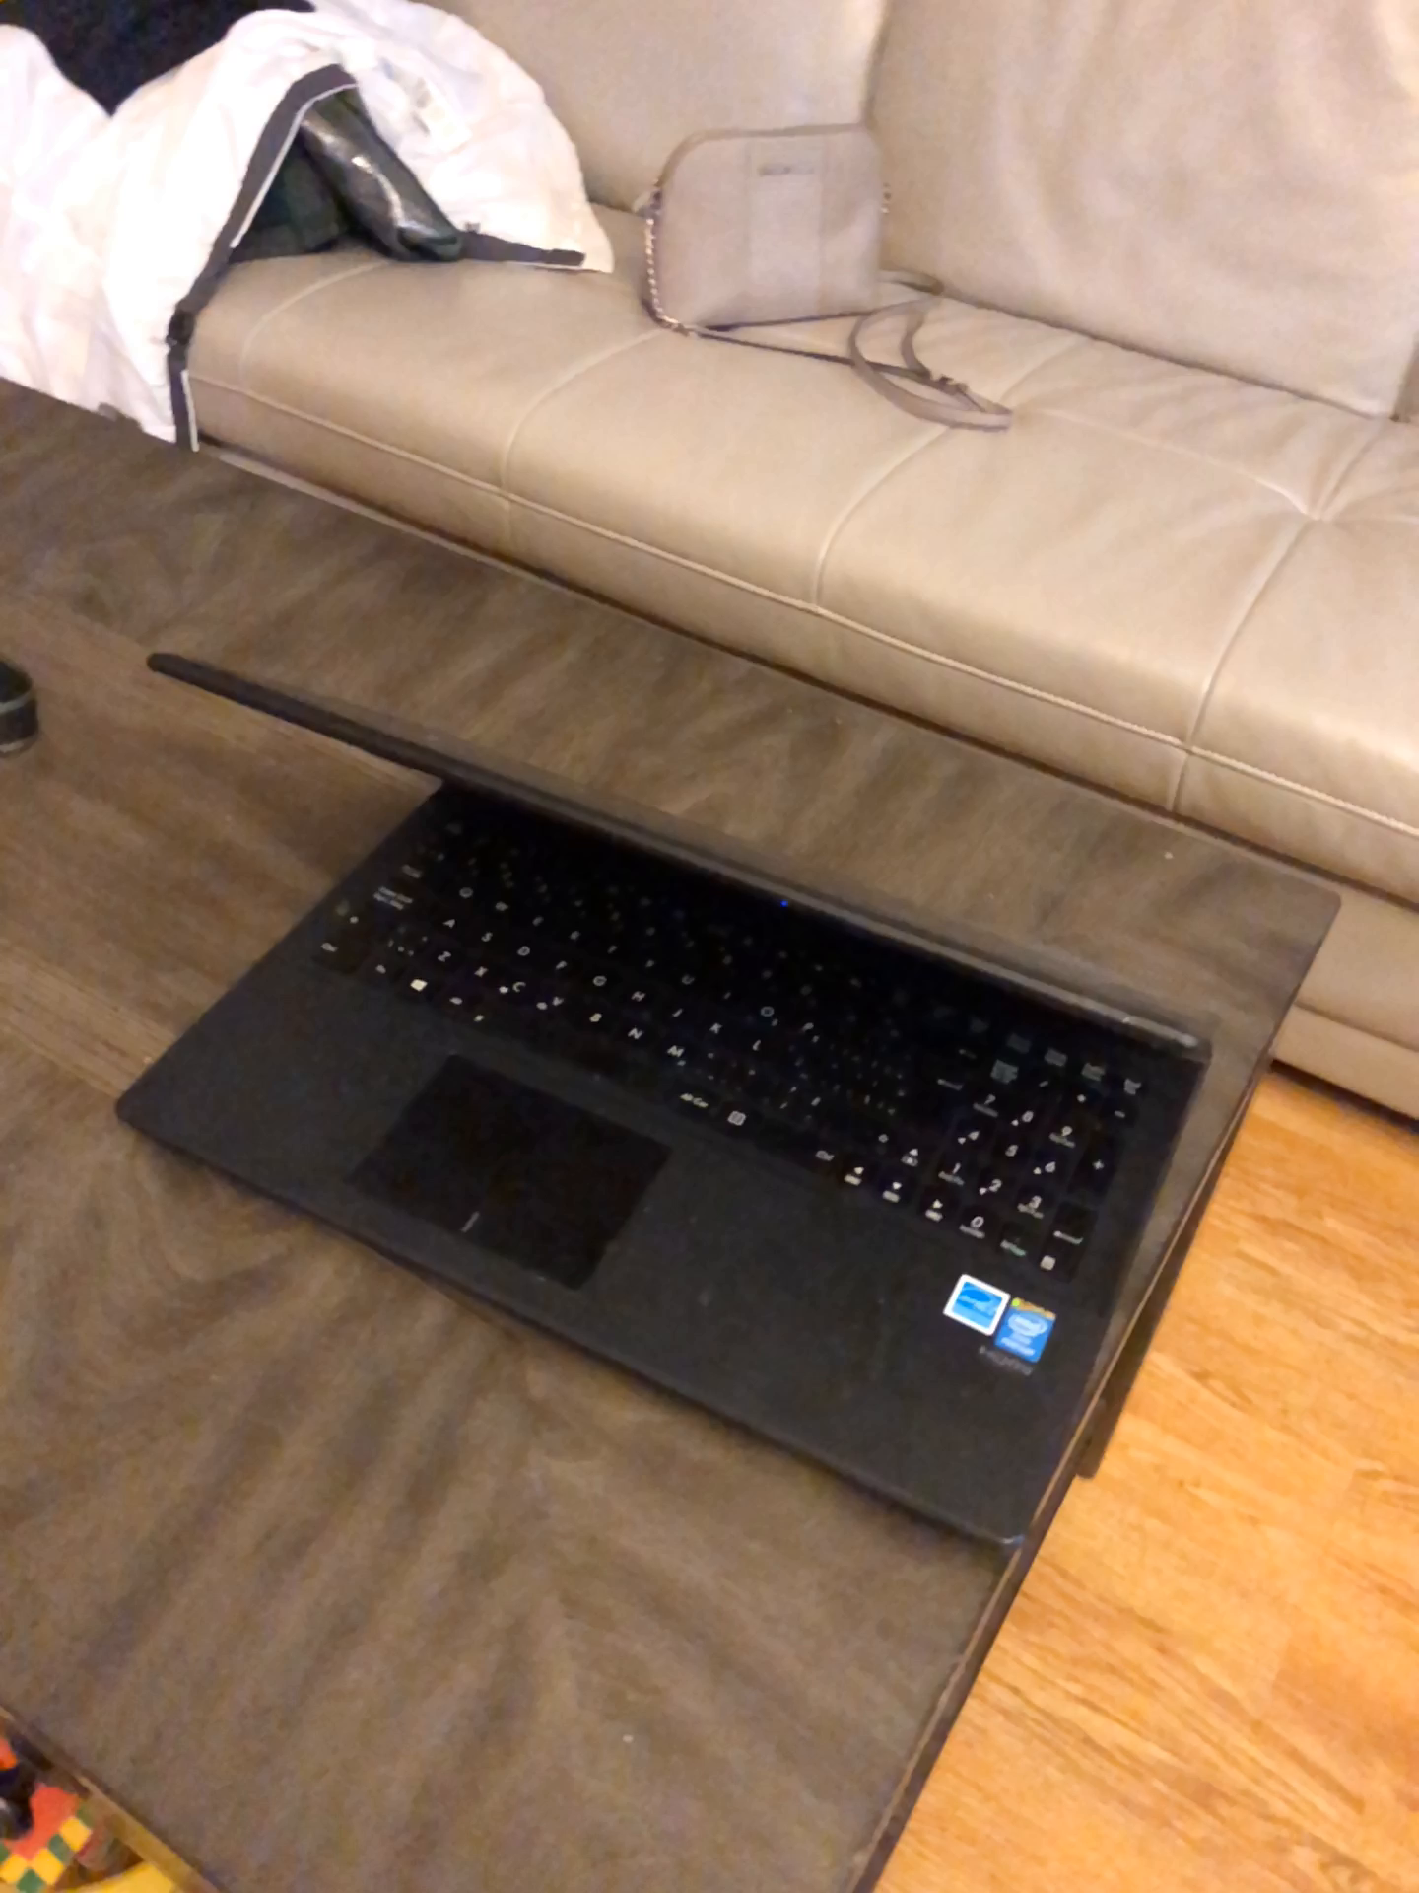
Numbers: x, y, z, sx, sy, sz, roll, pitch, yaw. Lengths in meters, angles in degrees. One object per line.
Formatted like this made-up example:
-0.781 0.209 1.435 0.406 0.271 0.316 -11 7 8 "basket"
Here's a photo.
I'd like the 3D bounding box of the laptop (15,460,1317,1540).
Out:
-0.010 -0.007 0.579 0.372 0.164 0.239 21 48 18 "laptop"
